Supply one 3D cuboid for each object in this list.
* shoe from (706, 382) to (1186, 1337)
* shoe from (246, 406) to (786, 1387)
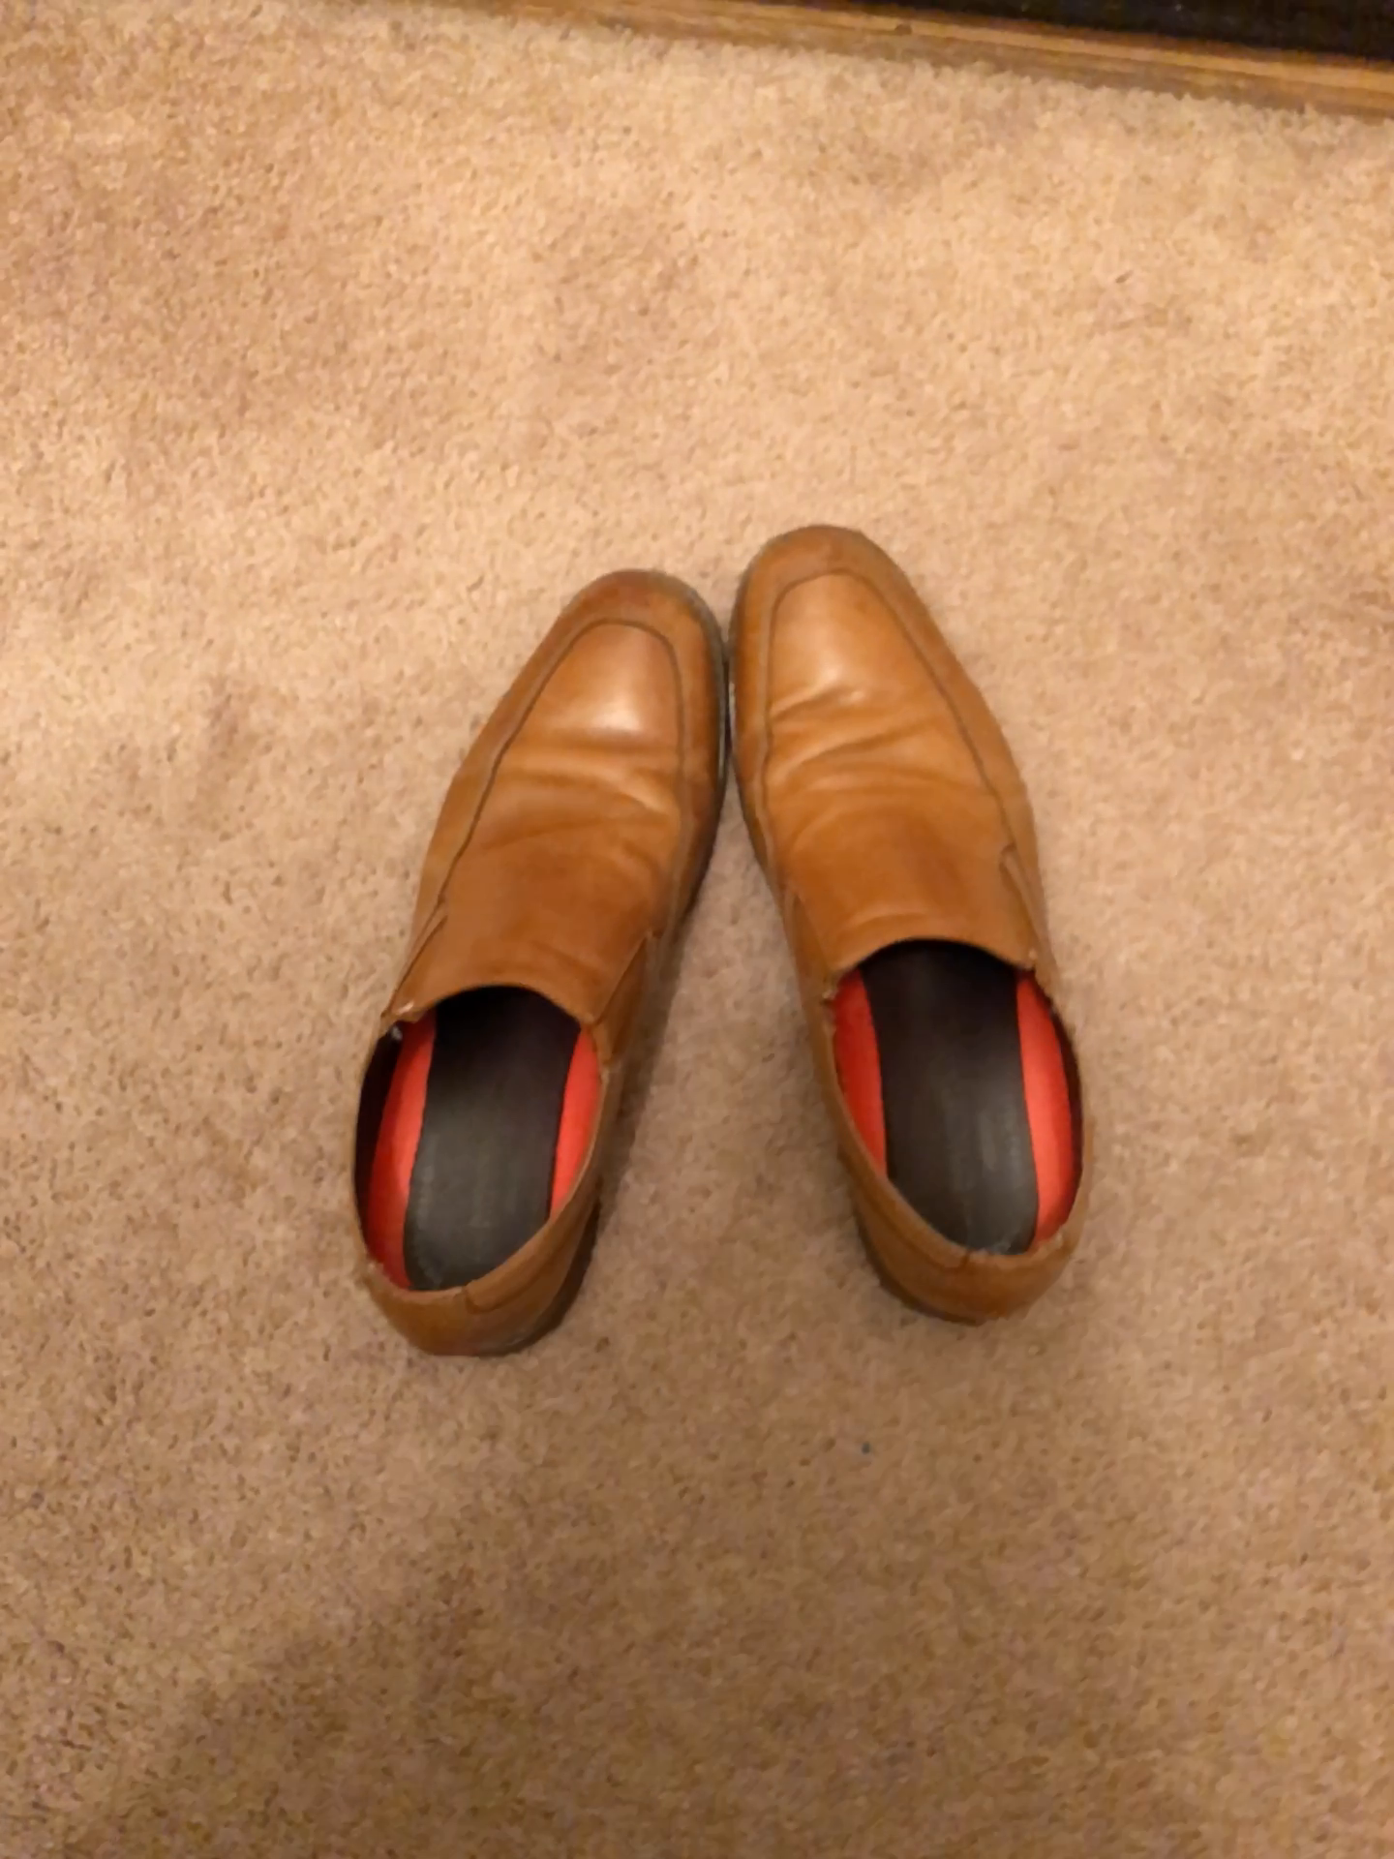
[{"bbox_3d":[0.077,-0.024,0.541,0.107,0.089,0.311,-7,74,3],"label":"shoe"},{"bbox_3d":[-0.050,-0.014,0.545,0.100,0.090,0.320,11,75,7],"label":"shoe"}]
